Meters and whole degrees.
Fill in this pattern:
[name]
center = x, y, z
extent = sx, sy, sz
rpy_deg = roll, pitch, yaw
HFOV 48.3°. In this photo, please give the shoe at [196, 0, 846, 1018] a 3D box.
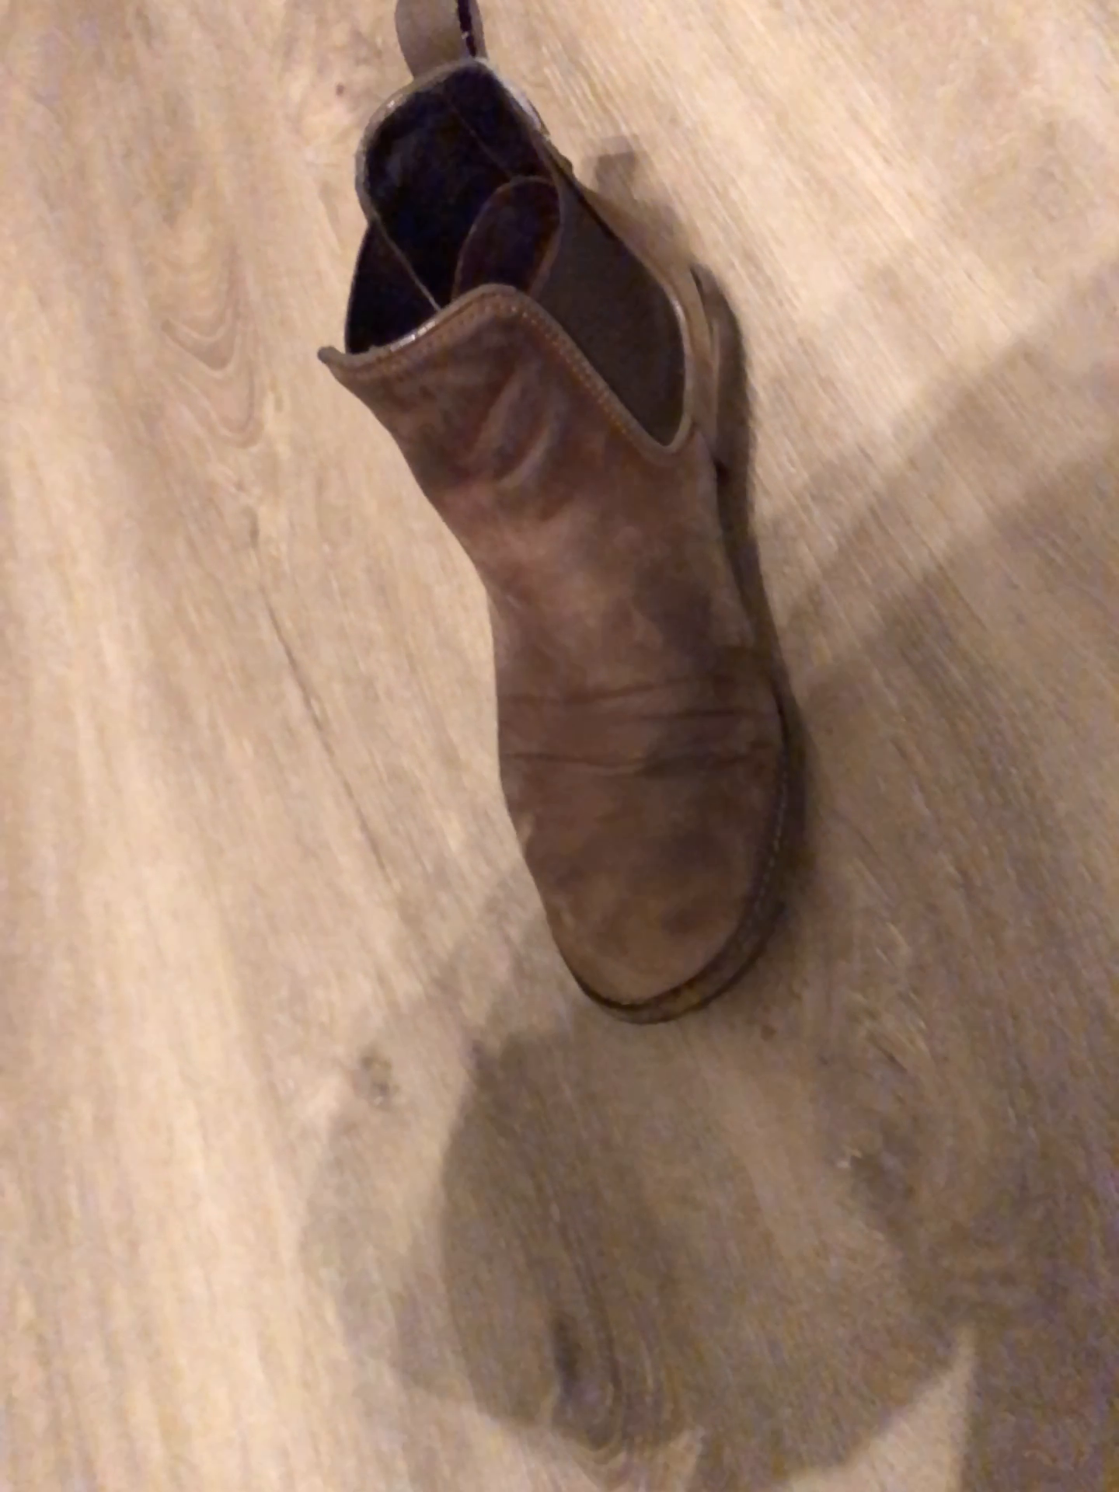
[shoe]
center = -0.006, -0.056, 0.335
extent = 0.100, 0.140, 0.240
rpy_deg = -11, 72, 27
